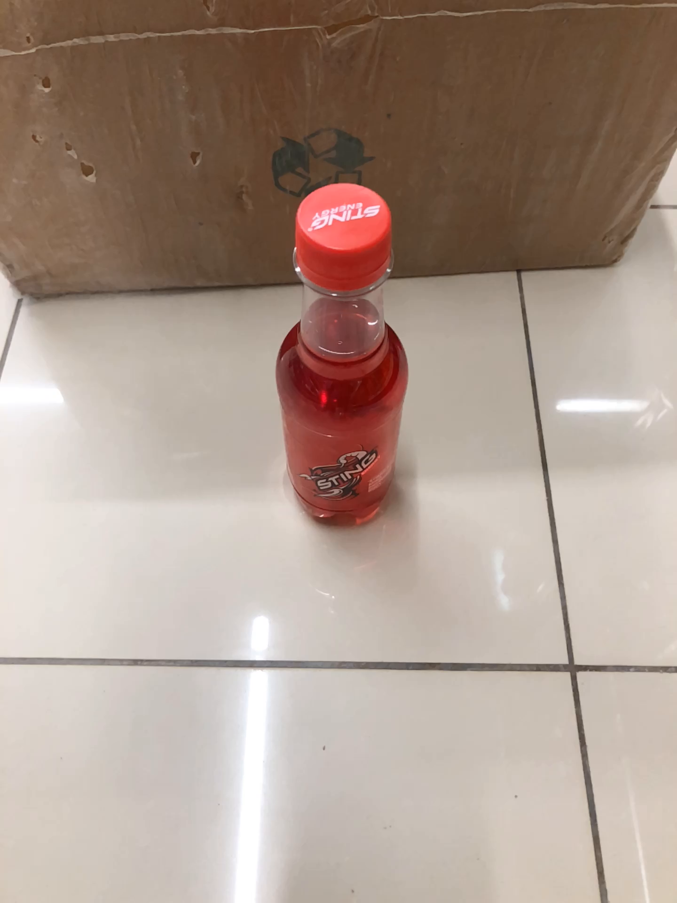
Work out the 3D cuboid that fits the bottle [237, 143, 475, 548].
[{"bbox_3d":[0.006,-0.029,0.316,0.070,0.179,0.070,0,59,0],"label":"bottle"}]
